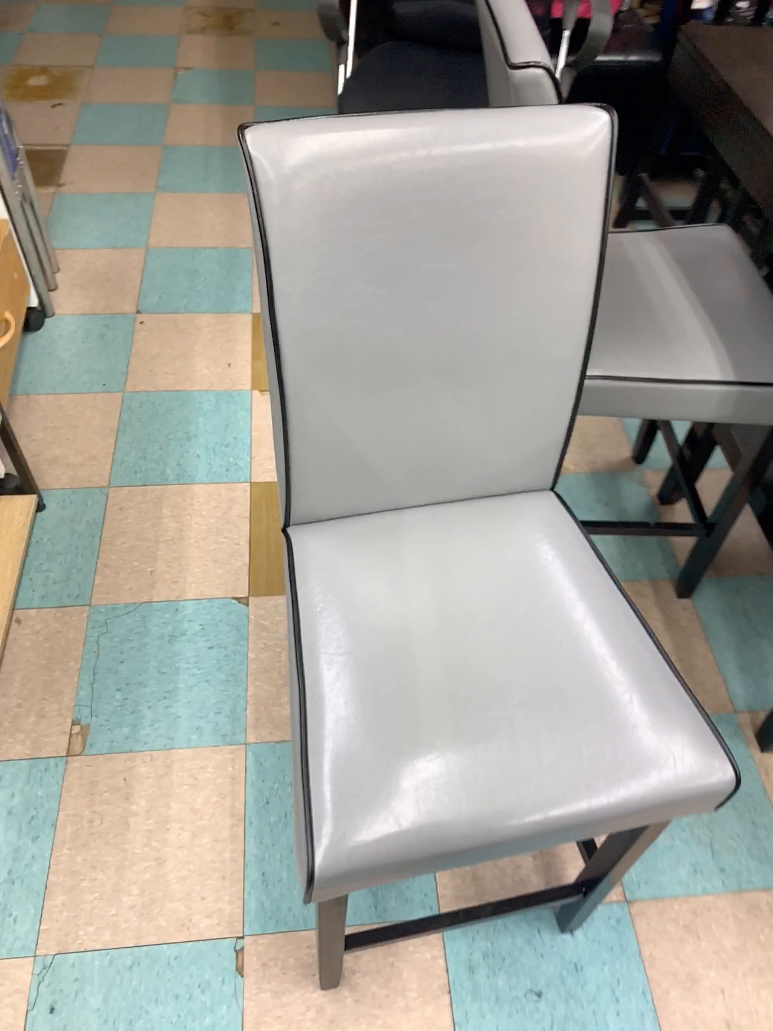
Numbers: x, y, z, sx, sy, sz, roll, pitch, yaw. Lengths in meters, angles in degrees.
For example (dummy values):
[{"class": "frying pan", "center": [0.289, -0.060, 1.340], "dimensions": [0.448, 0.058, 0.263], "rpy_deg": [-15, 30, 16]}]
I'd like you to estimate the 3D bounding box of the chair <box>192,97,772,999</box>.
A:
[{"class": "chair", "center": [0.078, 0.125, 0.926], "dimensions": [0.450, 0.932, 0.562], "rpy_deg": [-7, 52, -10]}]
